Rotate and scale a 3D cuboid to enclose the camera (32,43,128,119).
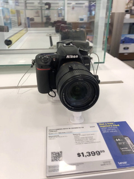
[{"bbox_3d":[0.009,-0.035,0.337,0.160,0.100,0.171,-5,27,-10],"label":"camera"}]
